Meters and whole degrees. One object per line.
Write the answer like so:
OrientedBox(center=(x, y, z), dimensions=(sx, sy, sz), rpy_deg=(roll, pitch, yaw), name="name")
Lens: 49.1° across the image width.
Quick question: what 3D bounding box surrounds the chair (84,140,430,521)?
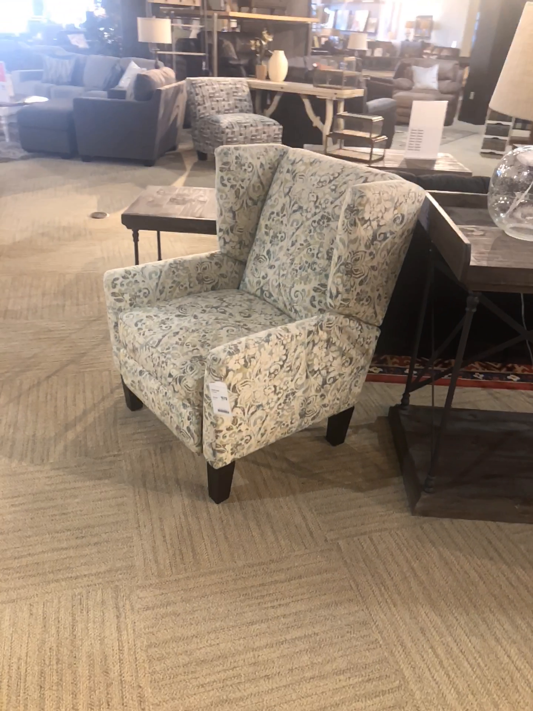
OrientedBox(center=(-0.077, -0.171, 2.084), dimensions=(0.802, 0.975, 0.782), rpy_deg=(-16, 34, -31), name="chair")
